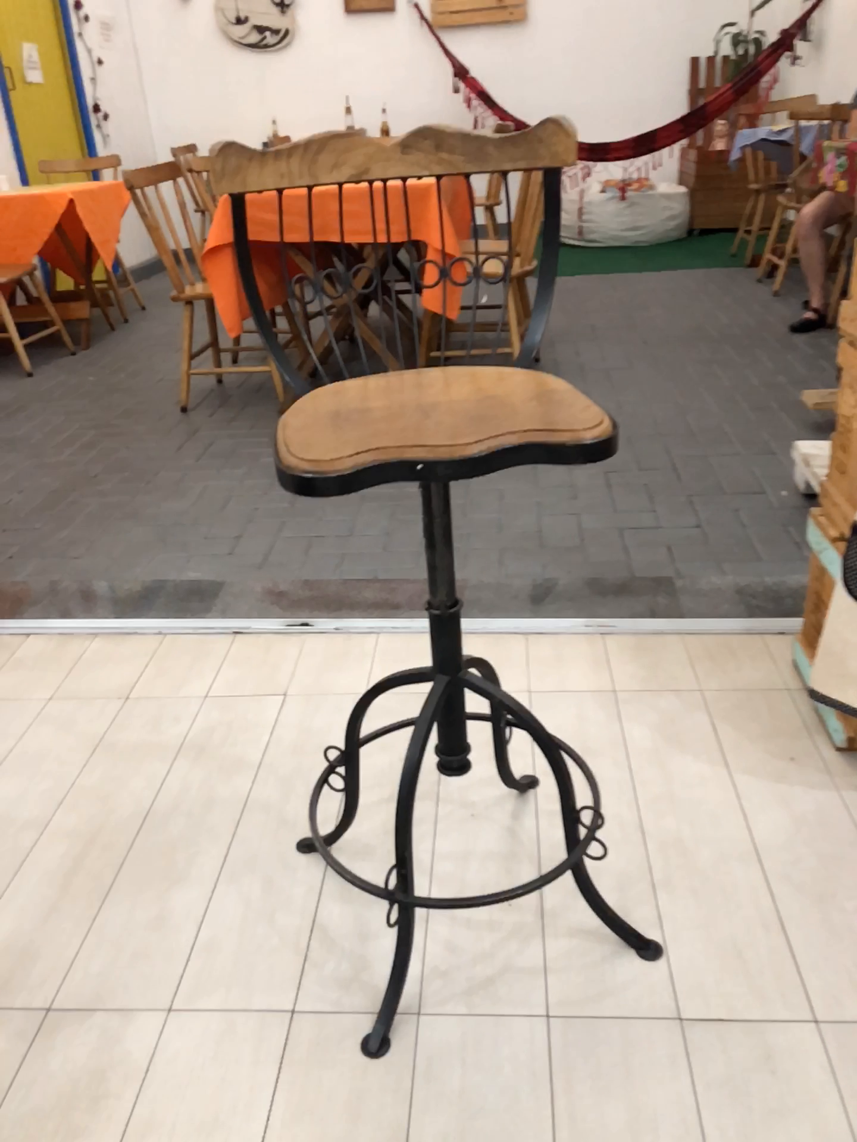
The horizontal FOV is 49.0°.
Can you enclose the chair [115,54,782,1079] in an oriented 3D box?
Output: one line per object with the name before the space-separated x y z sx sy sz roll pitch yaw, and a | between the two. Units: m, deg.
chair | 0.000 -0.022 1.021 0.460 0.894 0.473 -9 25 -11
